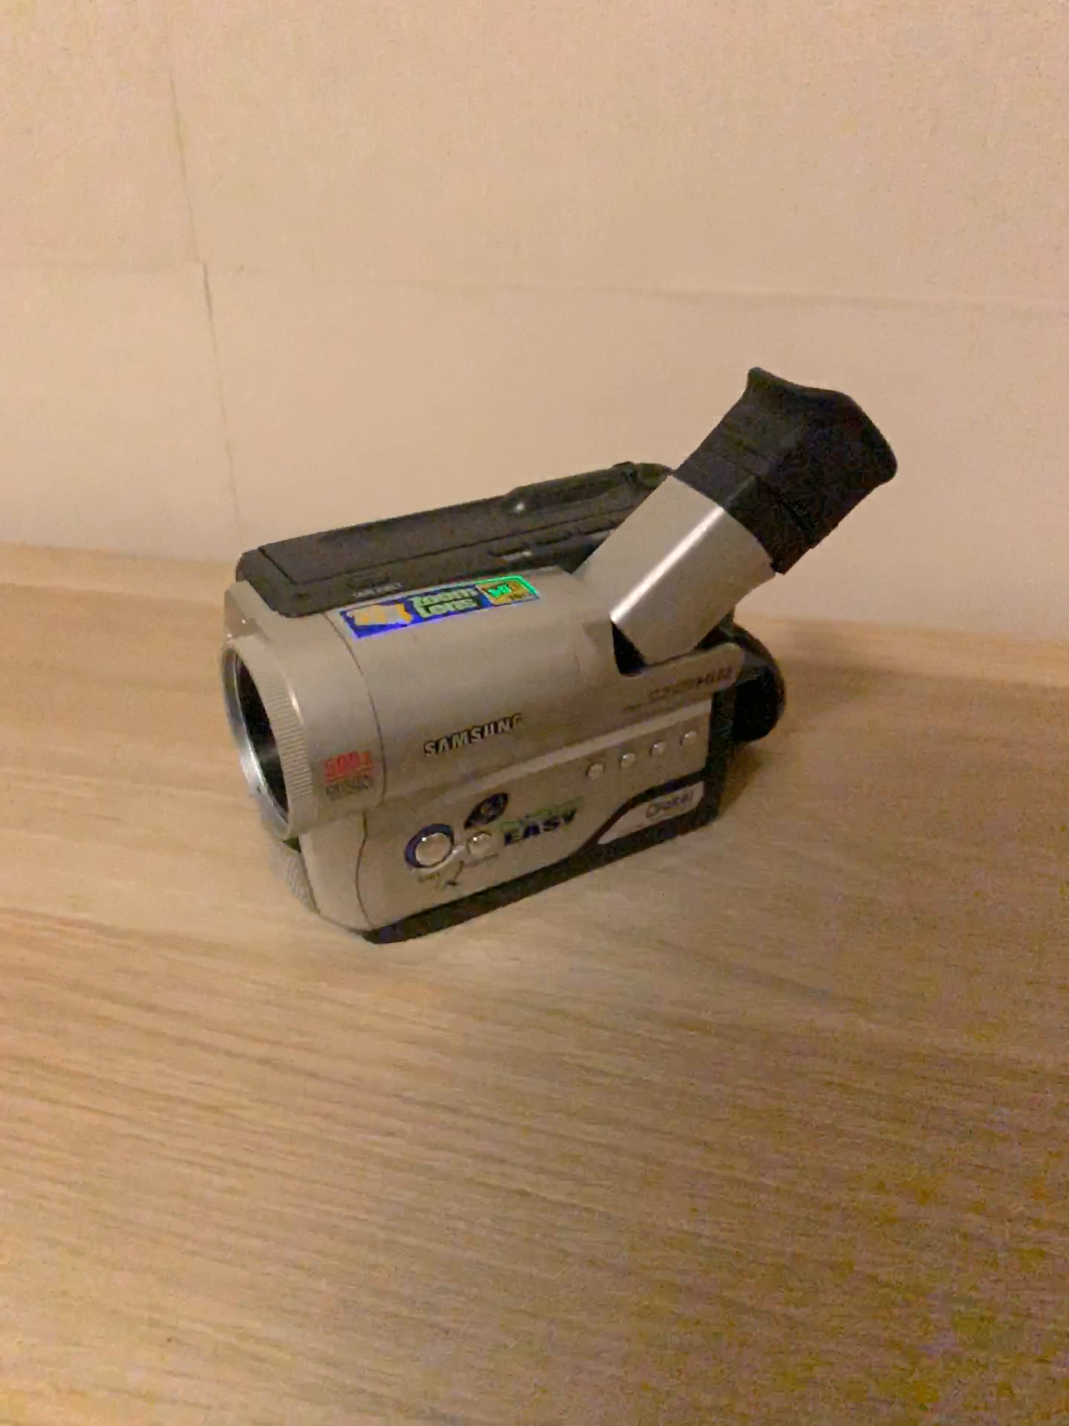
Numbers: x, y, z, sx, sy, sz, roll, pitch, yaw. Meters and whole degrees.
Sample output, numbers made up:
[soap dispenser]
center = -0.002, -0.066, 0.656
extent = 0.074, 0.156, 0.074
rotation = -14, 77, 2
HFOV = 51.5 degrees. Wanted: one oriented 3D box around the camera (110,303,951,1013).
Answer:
[camera]
center = 0.000, -0.032, 0.321
extent = 0.192, 0.133, 0.107
rotation = -16, 34, -27
